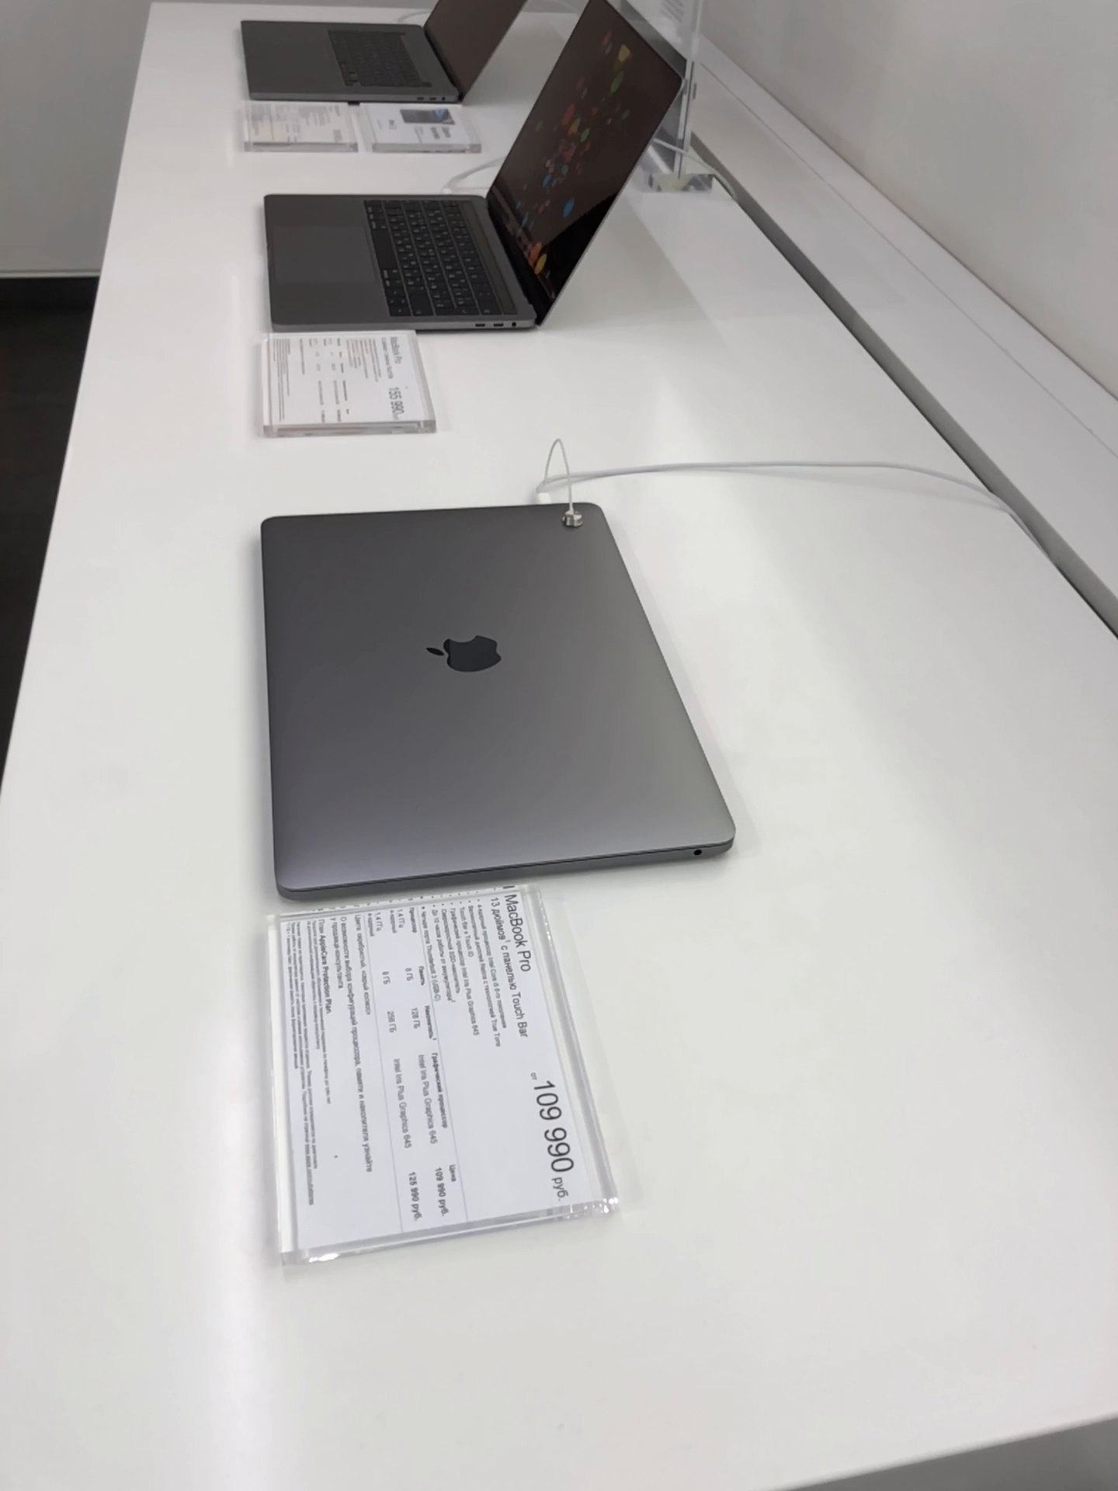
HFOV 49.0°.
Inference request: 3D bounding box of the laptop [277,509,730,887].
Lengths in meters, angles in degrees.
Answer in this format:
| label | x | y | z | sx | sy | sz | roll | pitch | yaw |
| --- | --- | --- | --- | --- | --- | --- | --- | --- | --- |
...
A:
| label | x | y | z | sx | sy | sz | roll | pitch | yaw |
| --- | --- | --- | --- | --- | --- | --- | --- | --- | --- |
| laptop | -0.046 | -0.044 | 0.652 | 0.198 | 0.001 | 0.294 | -5 | 42 | -10 |
